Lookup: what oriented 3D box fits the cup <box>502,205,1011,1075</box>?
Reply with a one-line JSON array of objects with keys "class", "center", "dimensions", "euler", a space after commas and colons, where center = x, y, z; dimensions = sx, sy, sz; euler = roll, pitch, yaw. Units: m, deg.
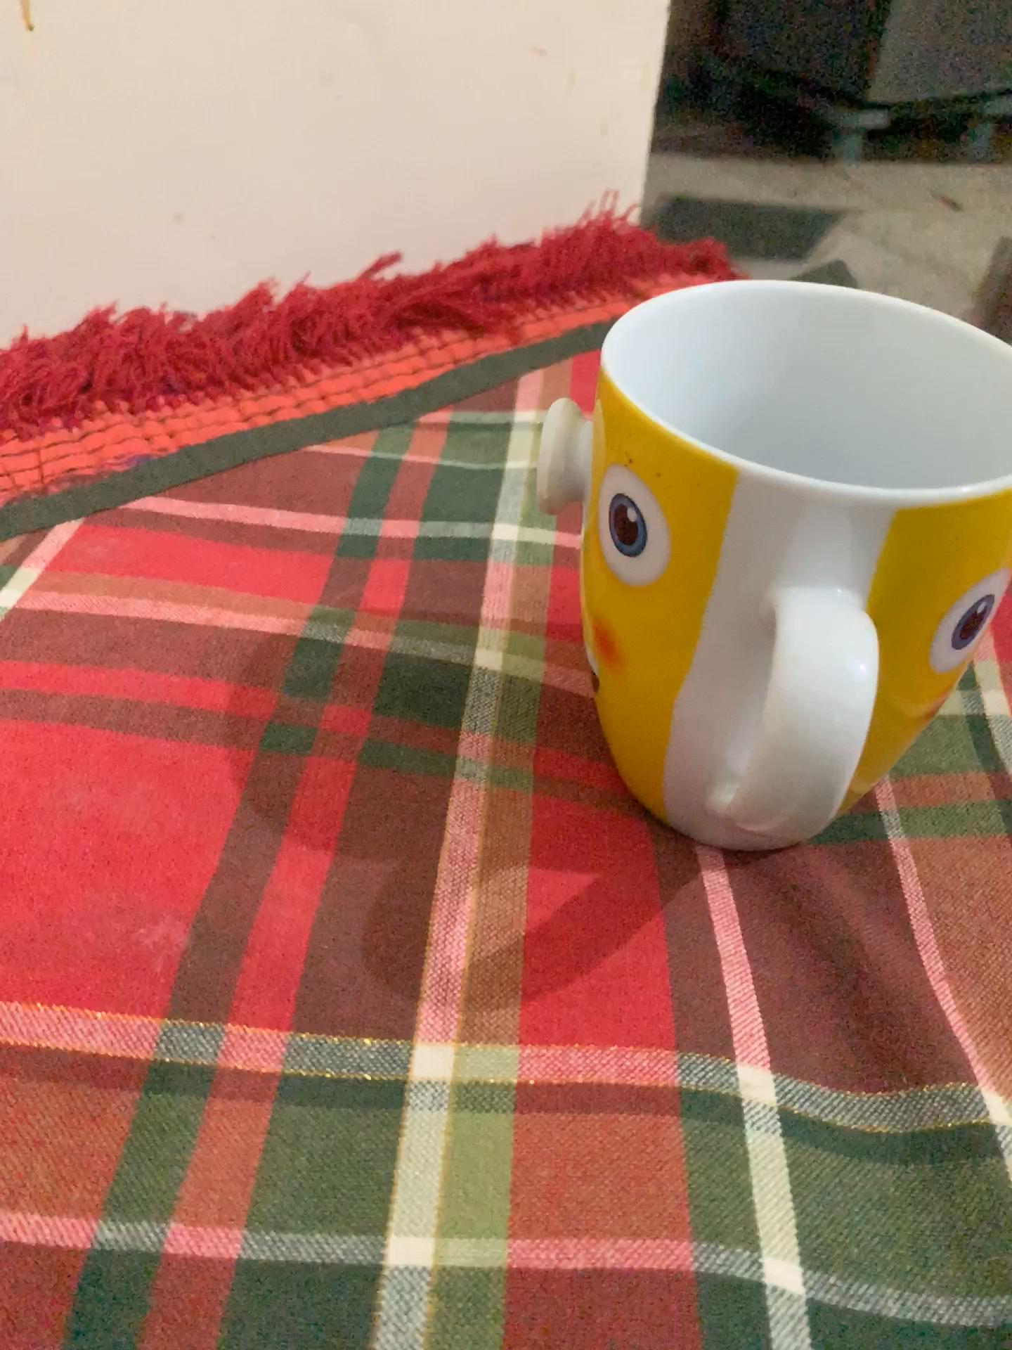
[{"class": "cup", "center": [0.054, -0.015, 0.182], "dimensions": [0.080, 0.080, 0.120], "euler": [11, 42, 6]}]
